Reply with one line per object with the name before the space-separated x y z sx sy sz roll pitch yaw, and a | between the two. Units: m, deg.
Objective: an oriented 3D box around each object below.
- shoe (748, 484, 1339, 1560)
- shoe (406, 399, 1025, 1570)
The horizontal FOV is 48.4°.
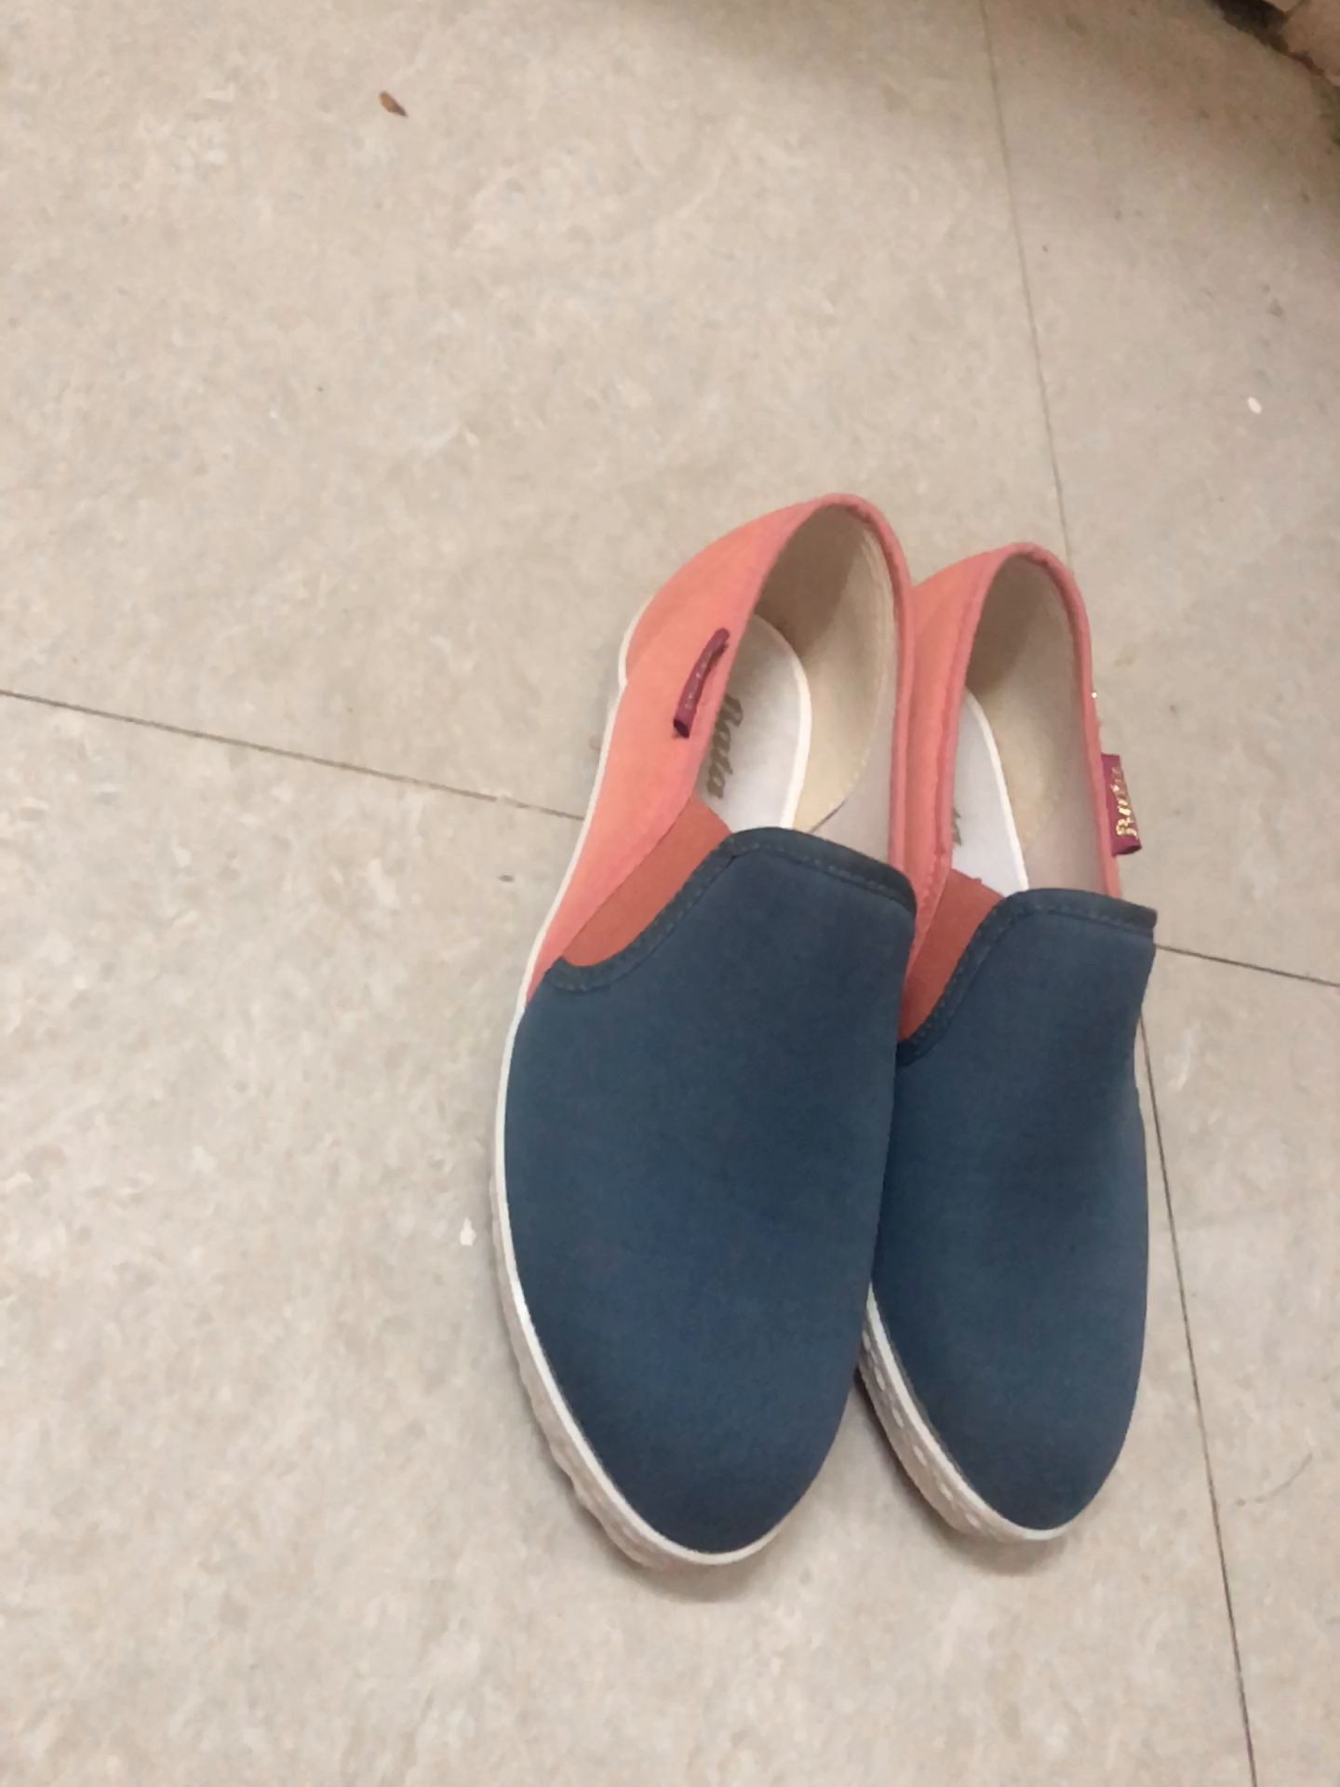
shoe | 0.079 0.027 0.336 0.090 0.060 0.221 10 64 -27
shoe | 0.012 0.016 0.308 0.090 0.060 0.221 16 61 -24
